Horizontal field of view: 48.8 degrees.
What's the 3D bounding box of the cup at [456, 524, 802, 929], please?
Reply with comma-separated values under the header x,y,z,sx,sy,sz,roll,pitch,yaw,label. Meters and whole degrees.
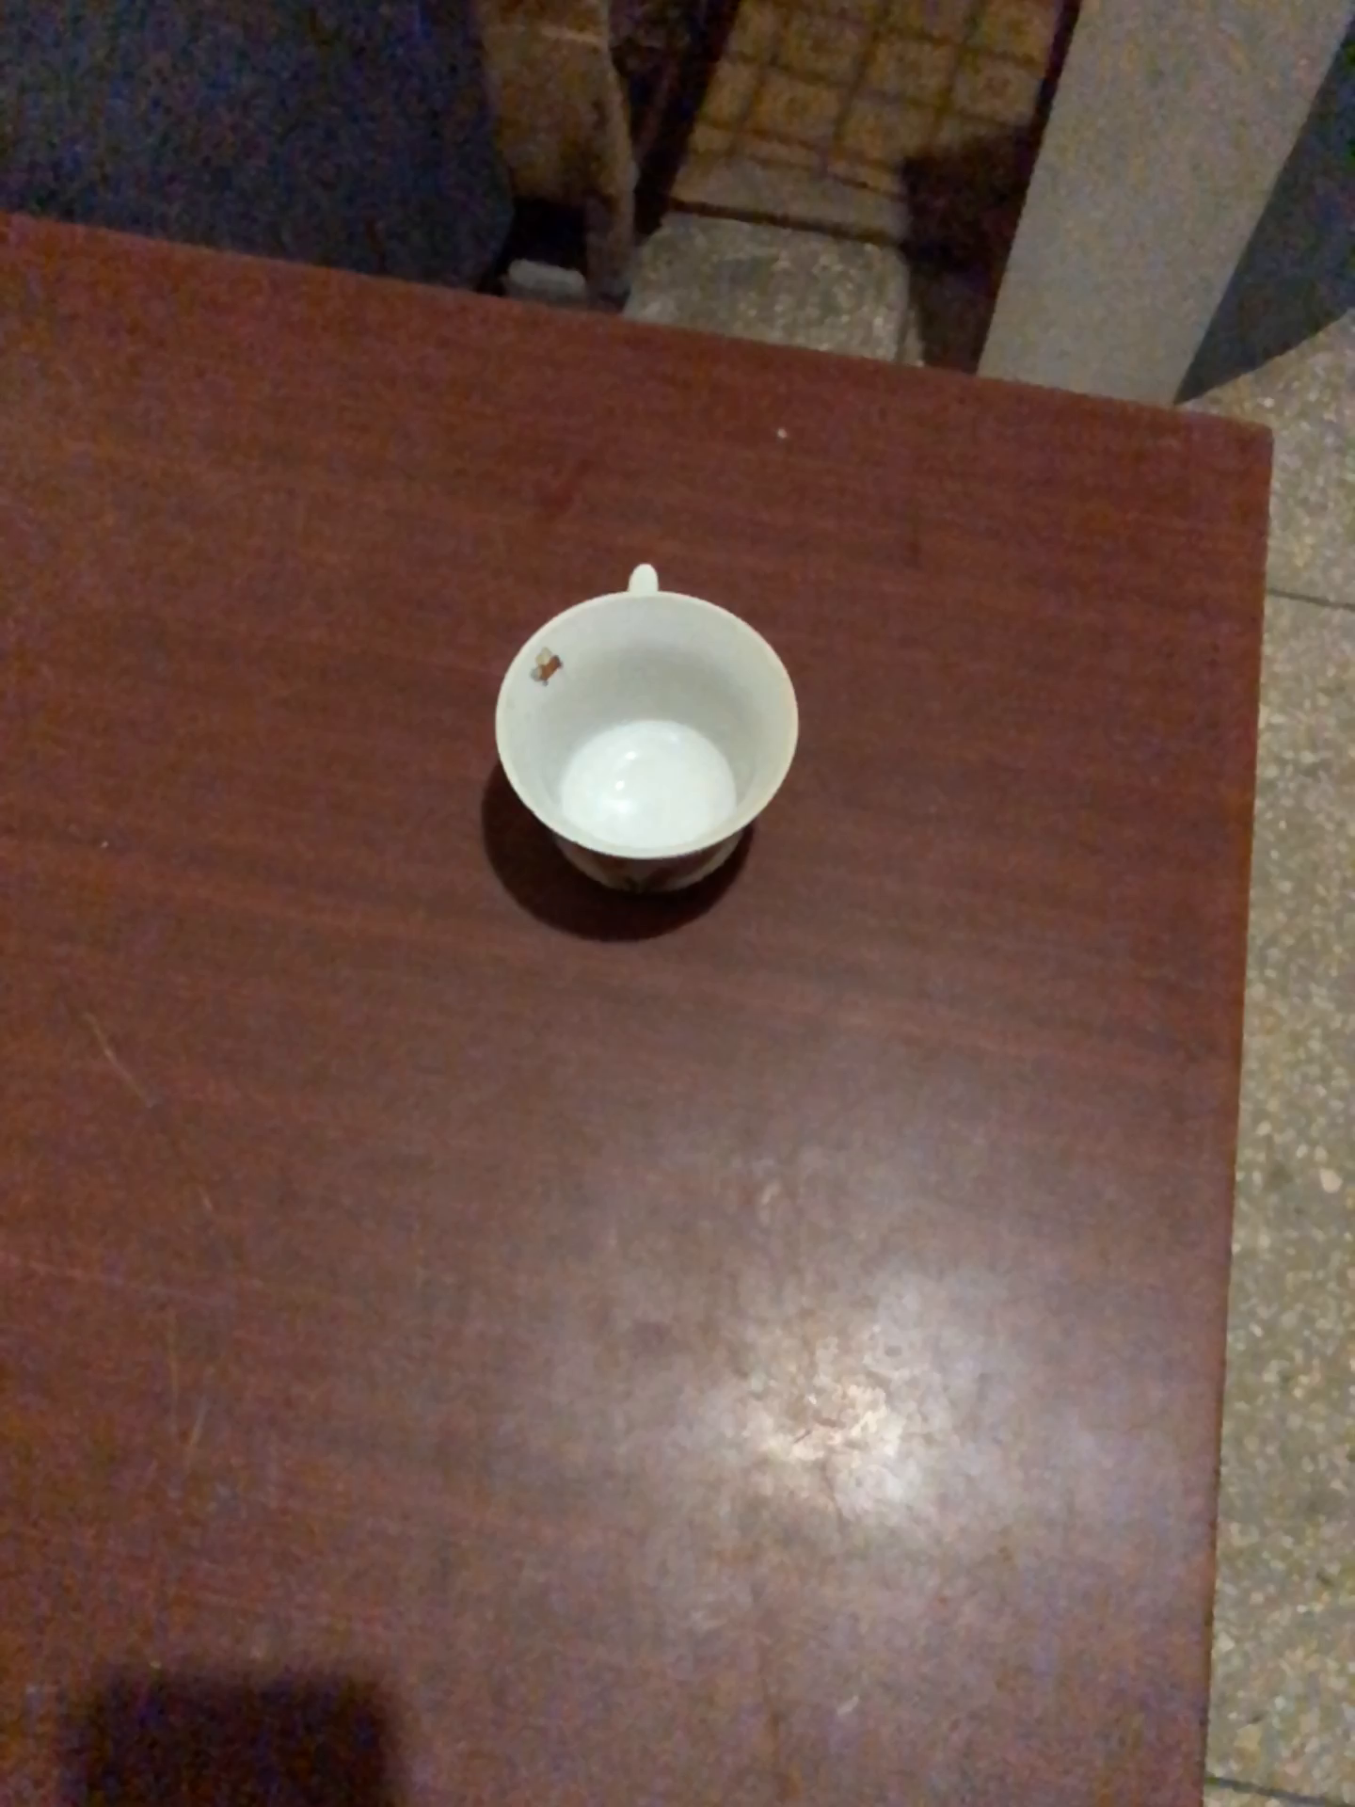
x,y,z,sx,sy,sz,roll,pitch,yaw,label
-0.013,-0.056,0.478,0.100,0.059,0.110,2,67,-1,cup
